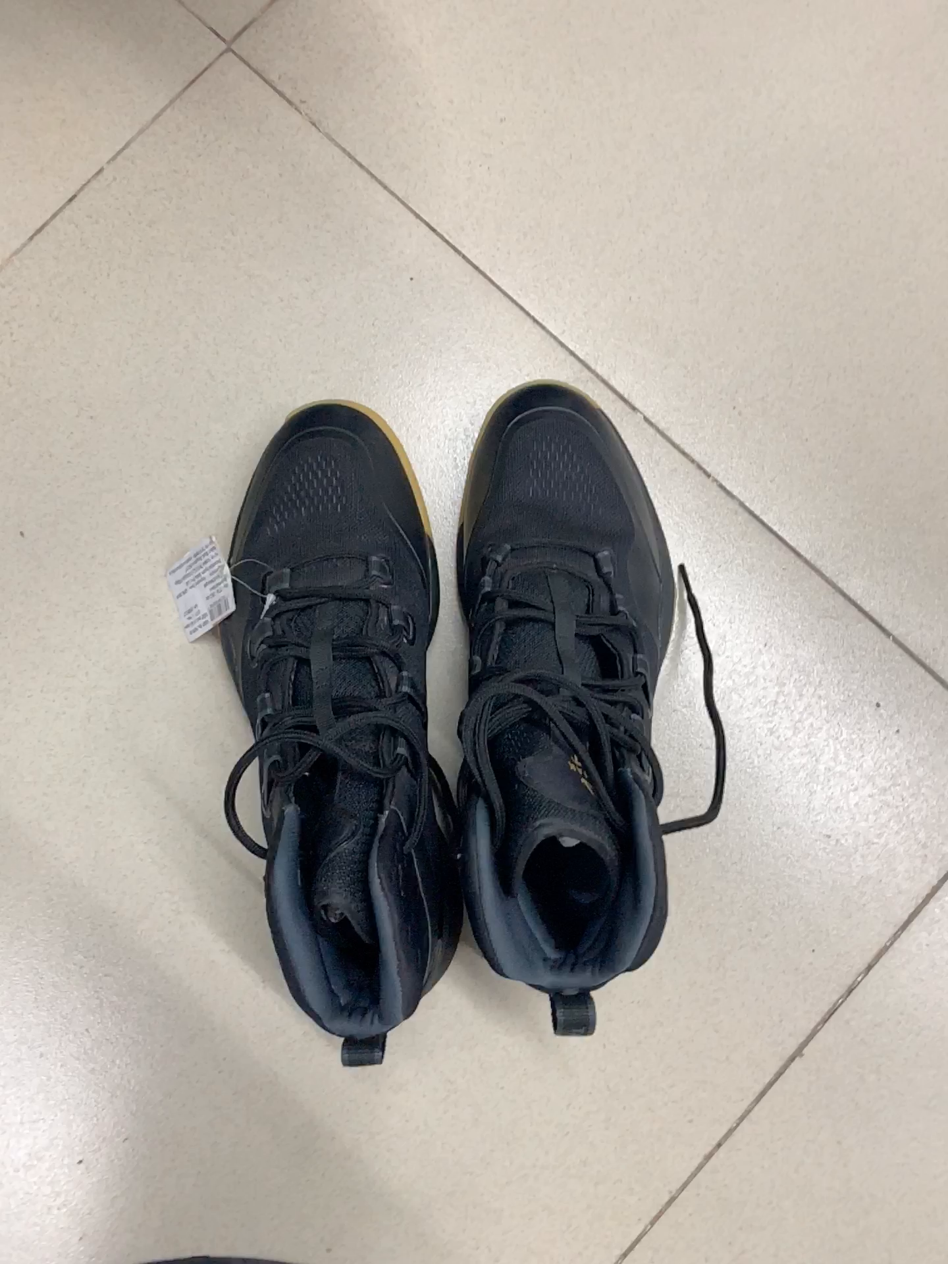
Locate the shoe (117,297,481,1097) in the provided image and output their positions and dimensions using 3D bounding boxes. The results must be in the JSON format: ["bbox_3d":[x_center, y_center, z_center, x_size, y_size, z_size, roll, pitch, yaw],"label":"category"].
[{"bbox_3d":[-0.068,0.025,0.434,0.110,0.140,0.290,-6,84,-1],"label":"shoe"}]

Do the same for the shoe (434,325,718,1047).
[{"bbox_3d":[0.039,0.021,0.434,0.110,0.090,0.290,0,84,0],"label":"shoe"}]
